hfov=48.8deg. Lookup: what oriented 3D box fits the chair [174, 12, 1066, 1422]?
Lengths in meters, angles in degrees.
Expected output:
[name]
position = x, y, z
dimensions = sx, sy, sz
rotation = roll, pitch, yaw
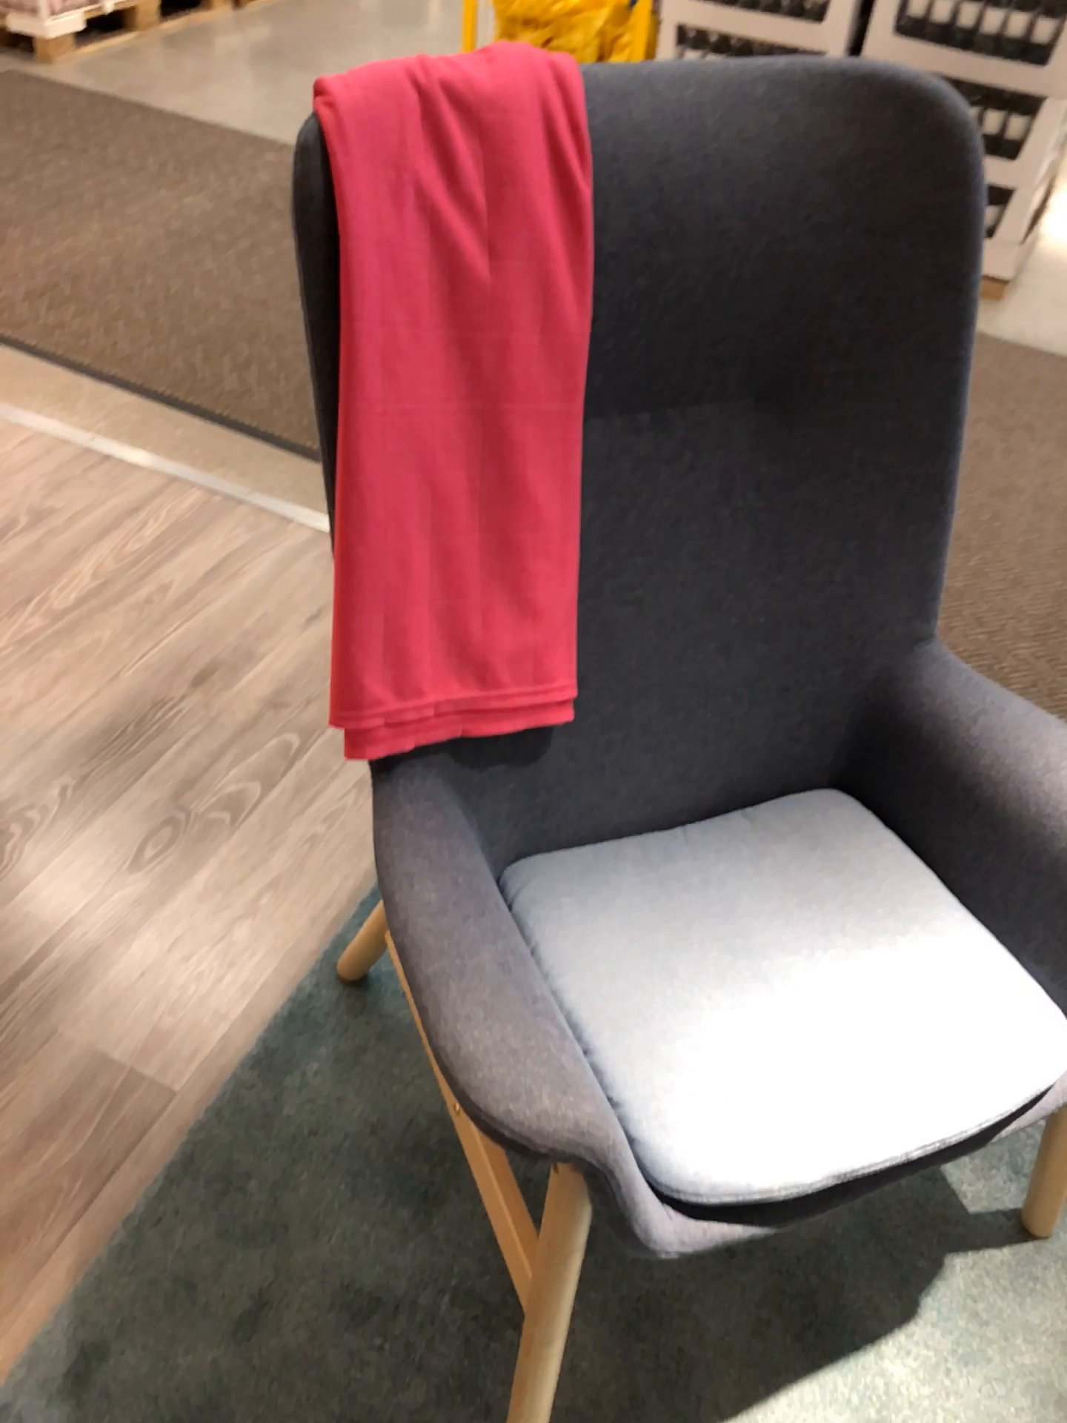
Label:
[chair]
position = 0.223, 0.054, 1.015
dimensions = 0.791, 0.996, 0.702
rotation = -13, 45, -20
